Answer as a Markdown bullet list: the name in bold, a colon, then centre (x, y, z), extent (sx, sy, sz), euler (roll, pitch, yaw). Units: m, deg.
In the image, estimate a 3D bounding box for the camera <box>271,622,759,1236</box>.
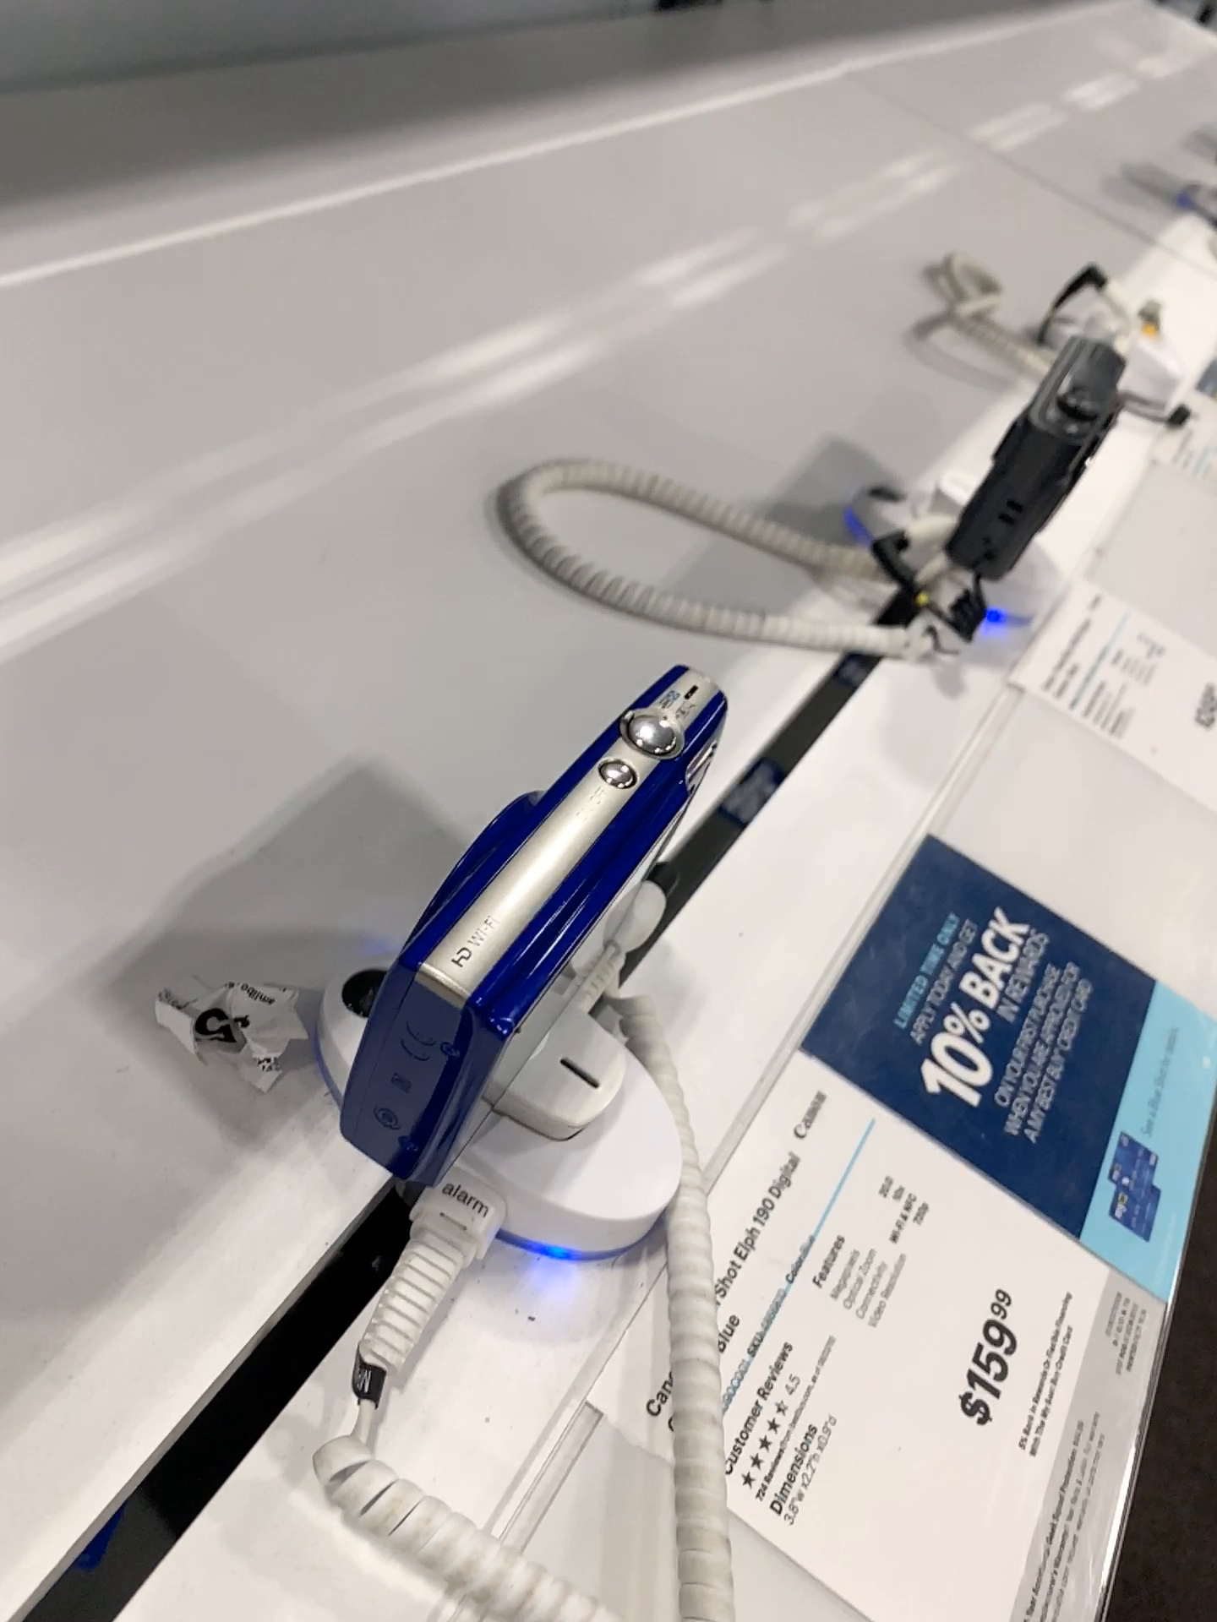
- **camera**: centre (-0.014, 0.017, 0.229), extent (0.027, 0.060, 0.101), euler (33, 43, 4)
